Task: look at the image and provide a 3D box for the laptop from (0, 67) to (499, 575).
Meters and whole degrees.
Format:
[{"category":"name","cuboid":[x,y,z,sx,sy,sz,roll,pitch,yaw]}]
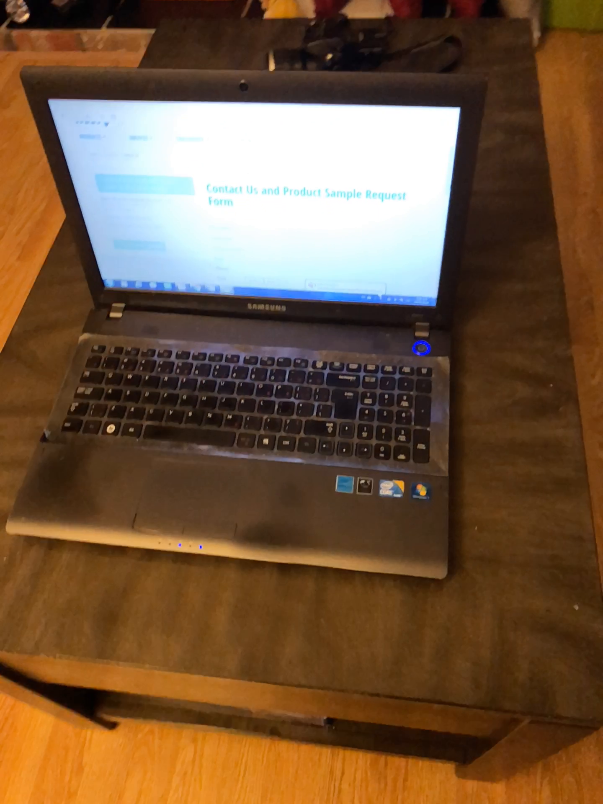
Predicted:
[{"category":"laptop","cuboid":[-0.059,-0.070,0.538,0.367,0.231,0.309,4,56,6]}]
